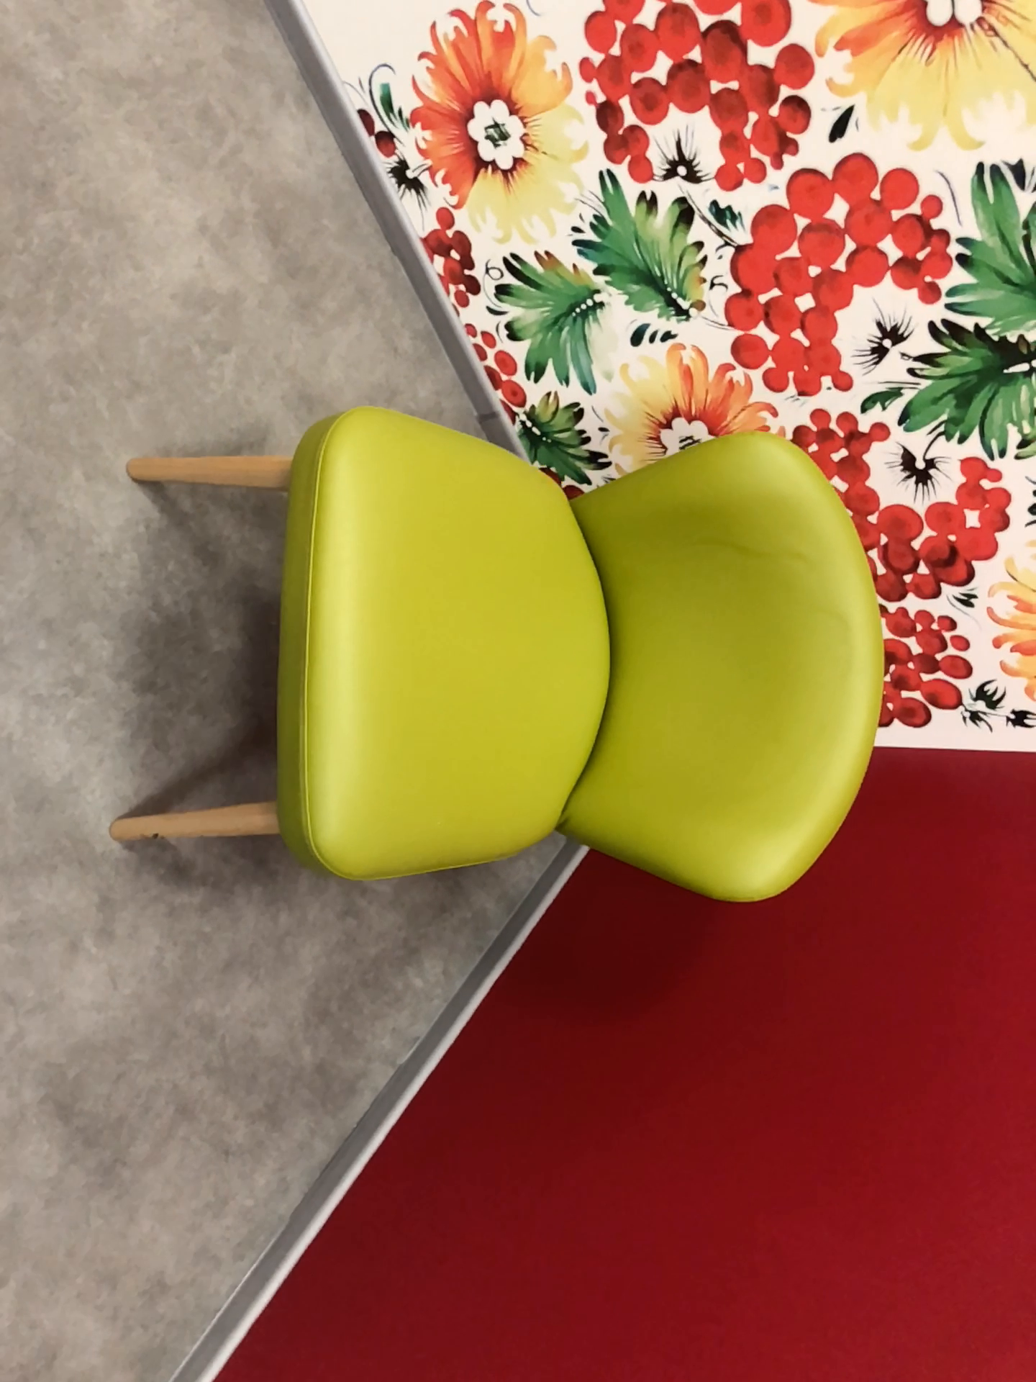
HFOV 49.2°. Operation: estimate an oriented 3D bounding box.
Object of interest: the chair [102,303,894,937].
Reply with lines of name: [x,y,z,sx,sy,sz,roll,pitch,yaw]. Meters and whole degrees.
chair: [-0.041,-0.041,1.398,0.573,0.776,0.520,6,86,-46]
